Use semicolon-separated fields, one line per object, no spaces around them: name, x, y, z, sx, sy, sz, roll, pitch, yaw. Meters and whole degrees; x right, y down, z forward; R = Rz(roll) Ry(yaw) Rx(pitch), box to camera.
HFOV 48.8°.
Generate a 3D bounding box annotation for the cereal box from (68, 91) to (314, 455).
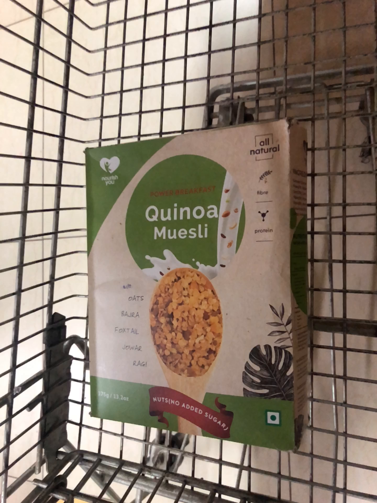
cereal box;0.001;0.014;0.298;0.160;0.060;0.210;-1;91;22
